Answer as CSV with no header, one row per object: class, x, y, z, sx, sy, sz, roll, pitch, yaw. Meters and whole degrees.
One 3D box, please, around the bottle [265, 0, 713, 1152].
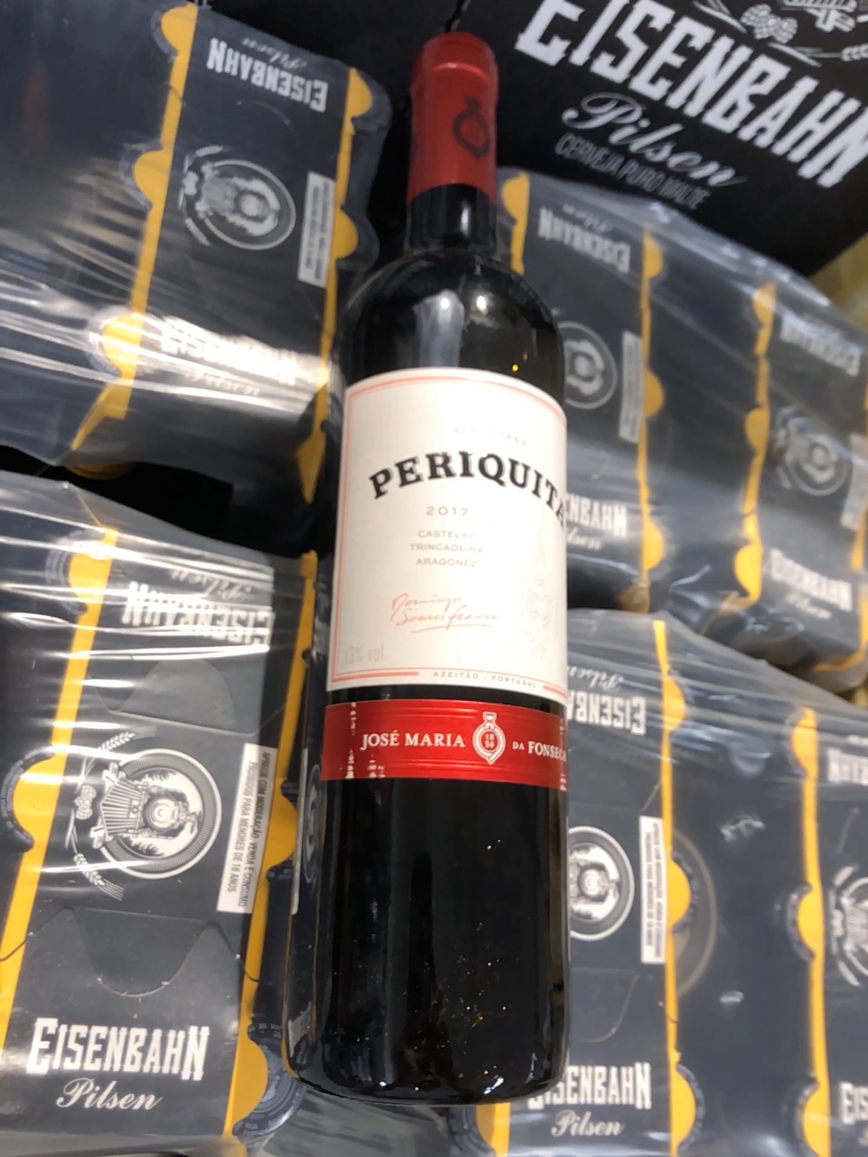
bottle,0.014,-0.038,0.274,0.080,0.070,0.331,9,71,-23
